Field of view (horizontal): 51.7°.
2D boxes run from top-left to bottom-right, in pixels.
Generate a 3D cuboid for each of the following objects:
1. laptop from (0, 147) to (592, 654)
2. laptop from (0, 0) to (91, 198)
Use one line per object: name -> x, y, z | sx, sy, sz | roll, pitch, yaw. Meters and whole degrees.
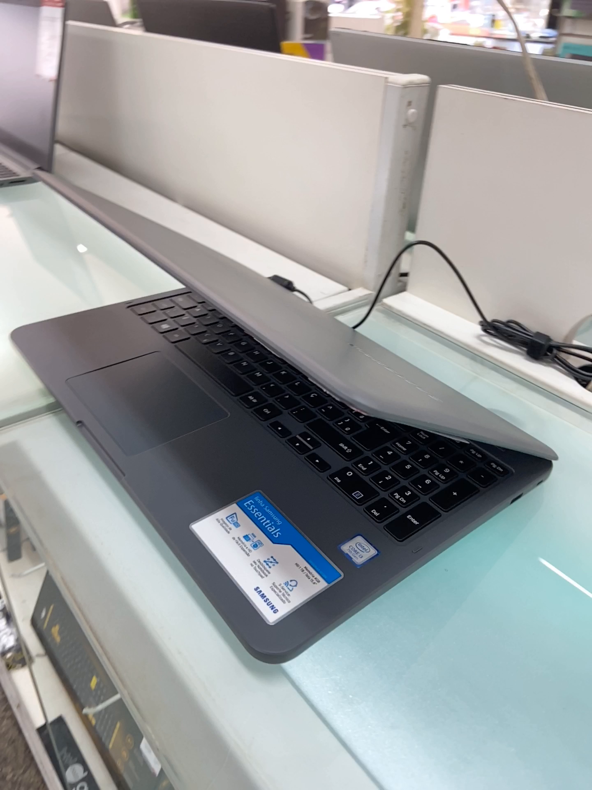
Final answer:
laptop -> -0.031, -0.056, 0.435 | 0.238, 0.126, 0.368 | -23, 43, -32
laptop -> -0.557, -0.484, 0.940 | 0.313, 0.225, 0.310 | -21, 42, -30
